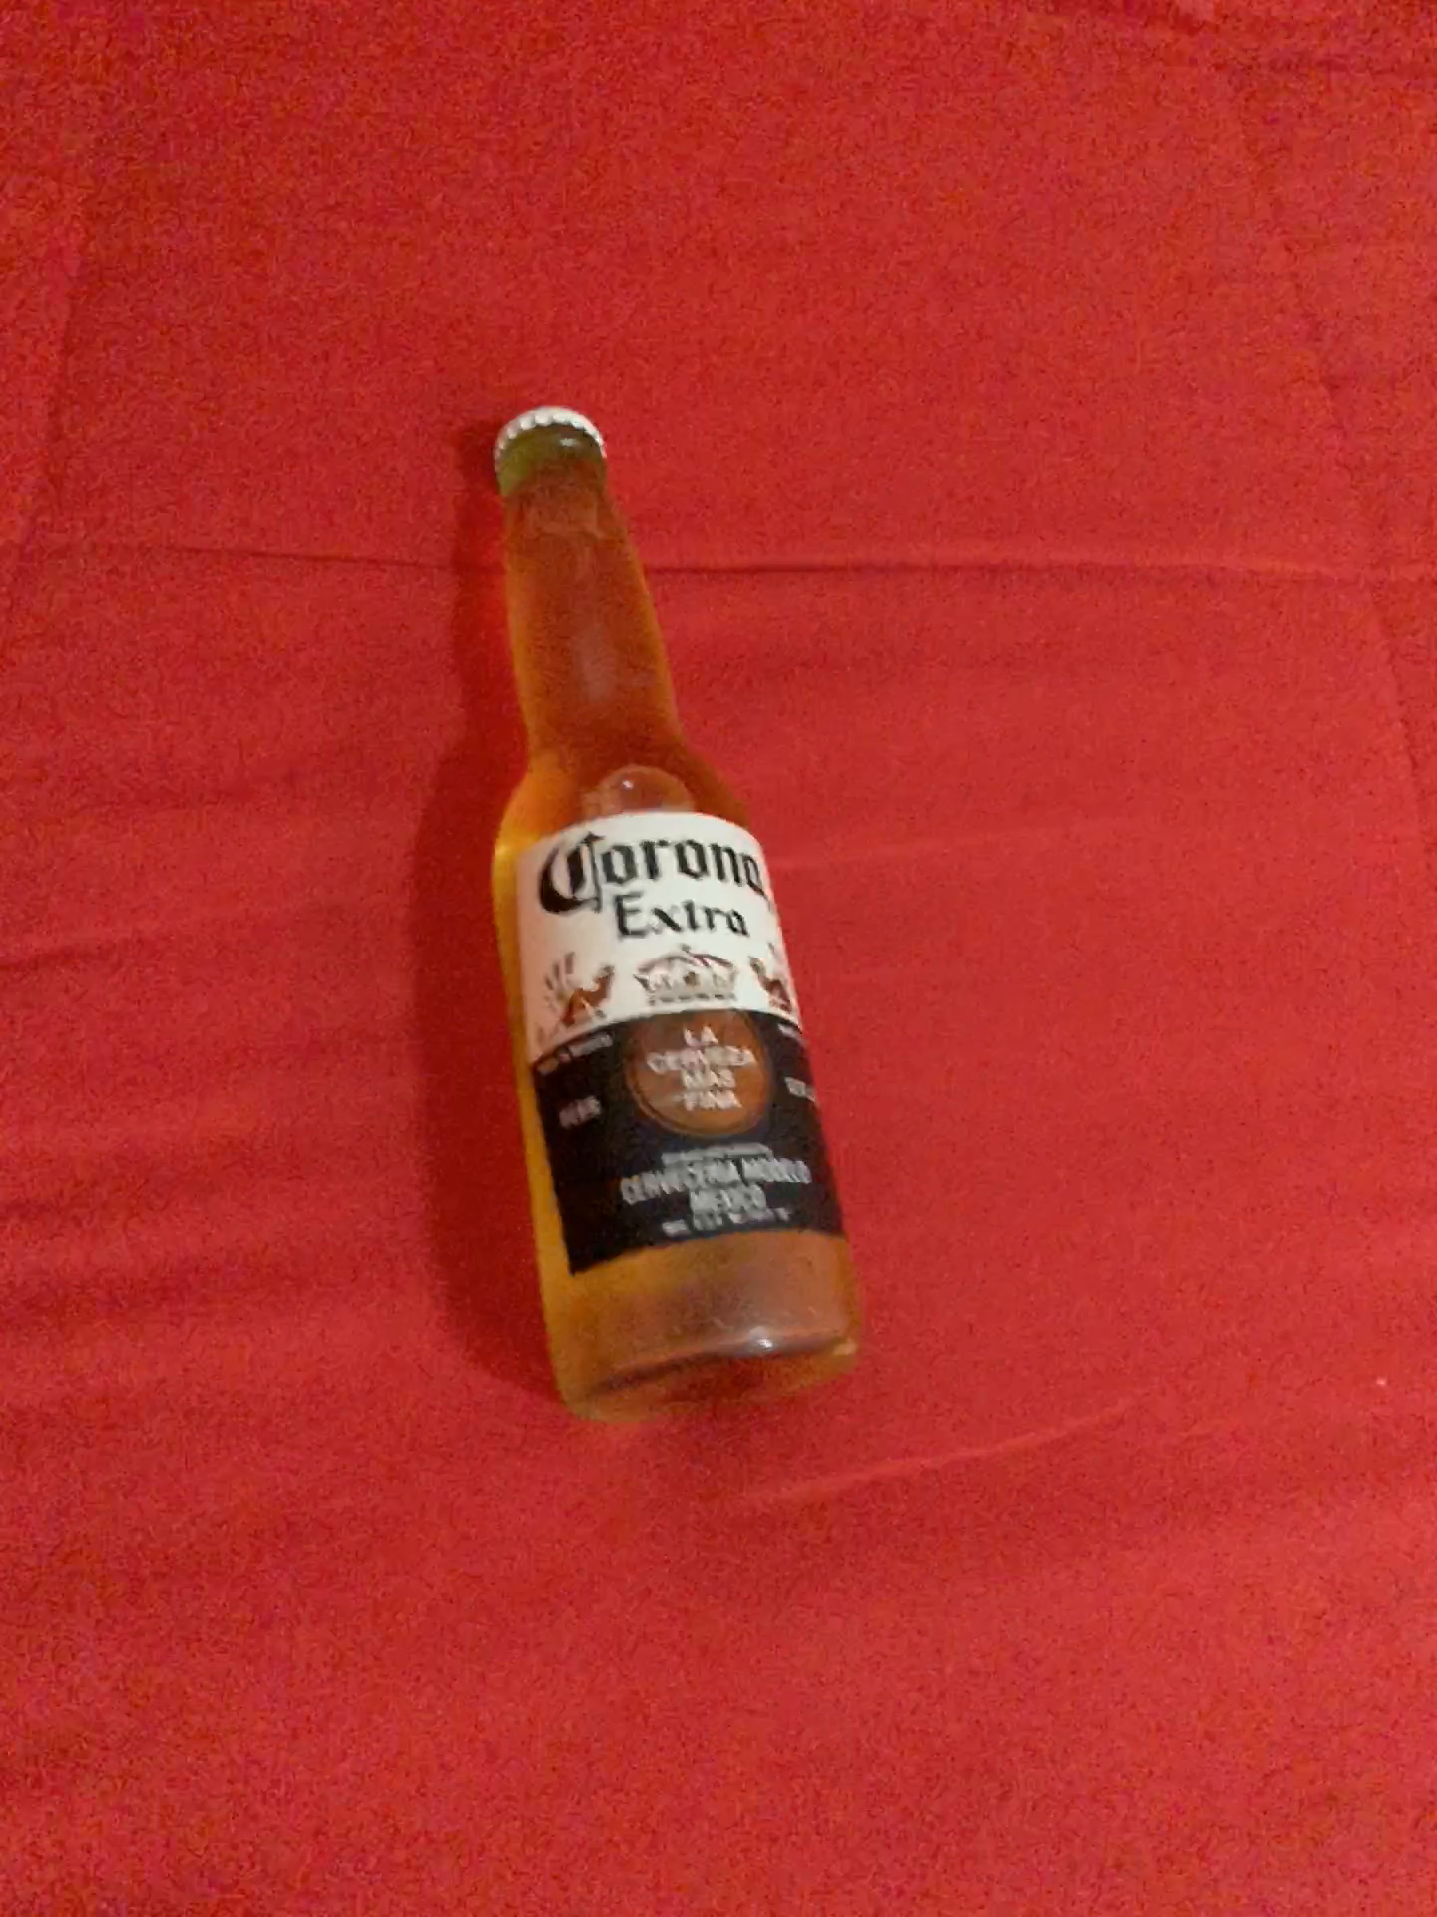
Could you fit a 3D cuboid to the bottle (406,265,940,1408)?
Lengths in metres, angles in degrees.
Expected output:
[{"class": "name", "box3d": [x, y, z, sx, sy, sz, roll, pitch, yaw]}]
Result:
[{"class": "bottle", "box3d": [-0.022, -0.035, 0.339, 0.070, 0.070, 0.250, -6, 69, -14]}]
